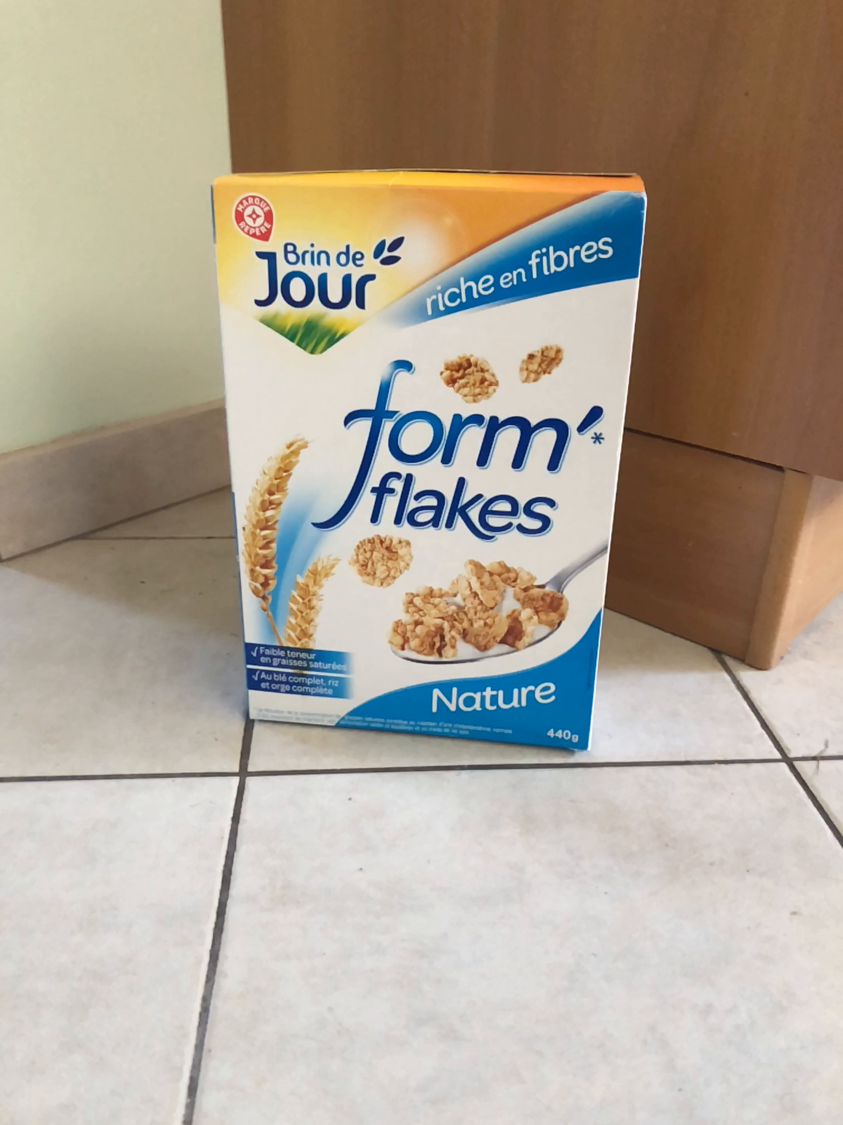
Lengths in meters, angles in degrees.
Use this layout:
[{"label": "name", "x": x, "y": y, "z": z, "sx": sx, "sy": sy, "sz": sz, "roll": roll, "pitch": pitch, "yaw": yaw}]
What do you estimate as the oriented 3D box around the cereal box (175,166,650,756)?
[{"label": "cereal box", "x": -0.006, "y": -0.047, "z": 0.475, "sx": 0.200, "sy": 0.279, "sz": 0.070, "roll": 4, "pitch": 24, "yaw": 5}]
